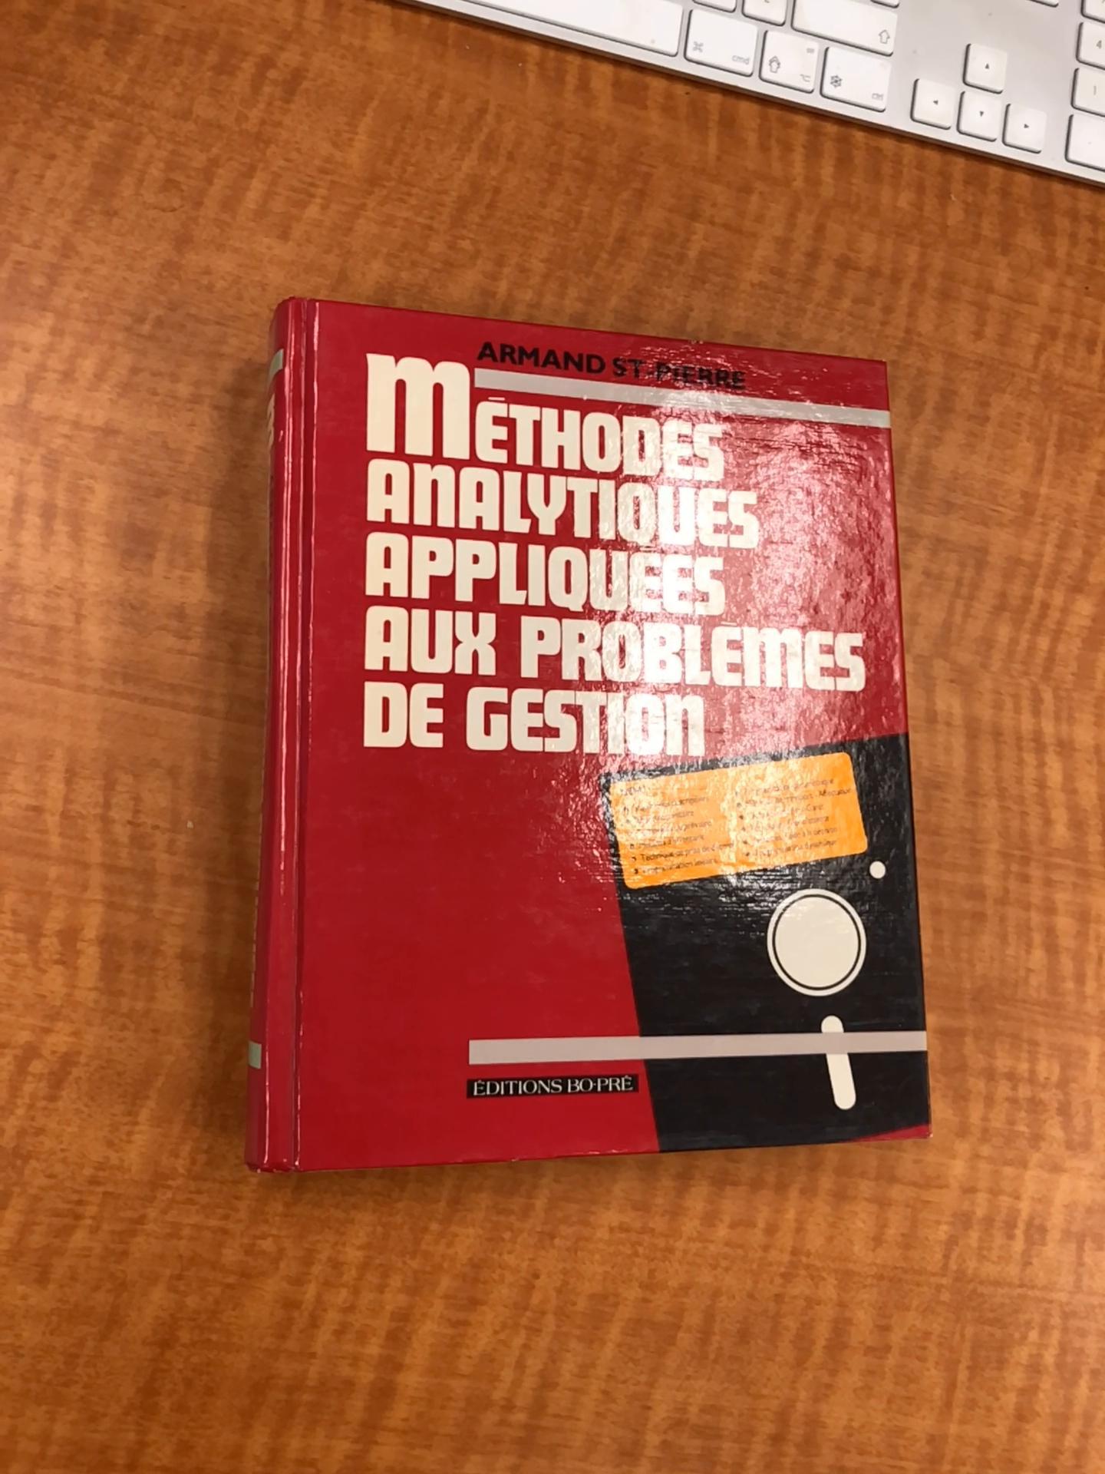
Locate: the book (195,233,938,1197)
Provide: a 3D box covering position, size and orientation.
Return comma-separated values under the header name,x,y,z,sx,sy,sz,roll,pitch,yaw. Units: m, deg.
name,x,y,z,sx,sy,sz,roll,pitch,yaw
book,0.004,-0.006,0.361,0.200,0.050,0.250,2,82,-14
